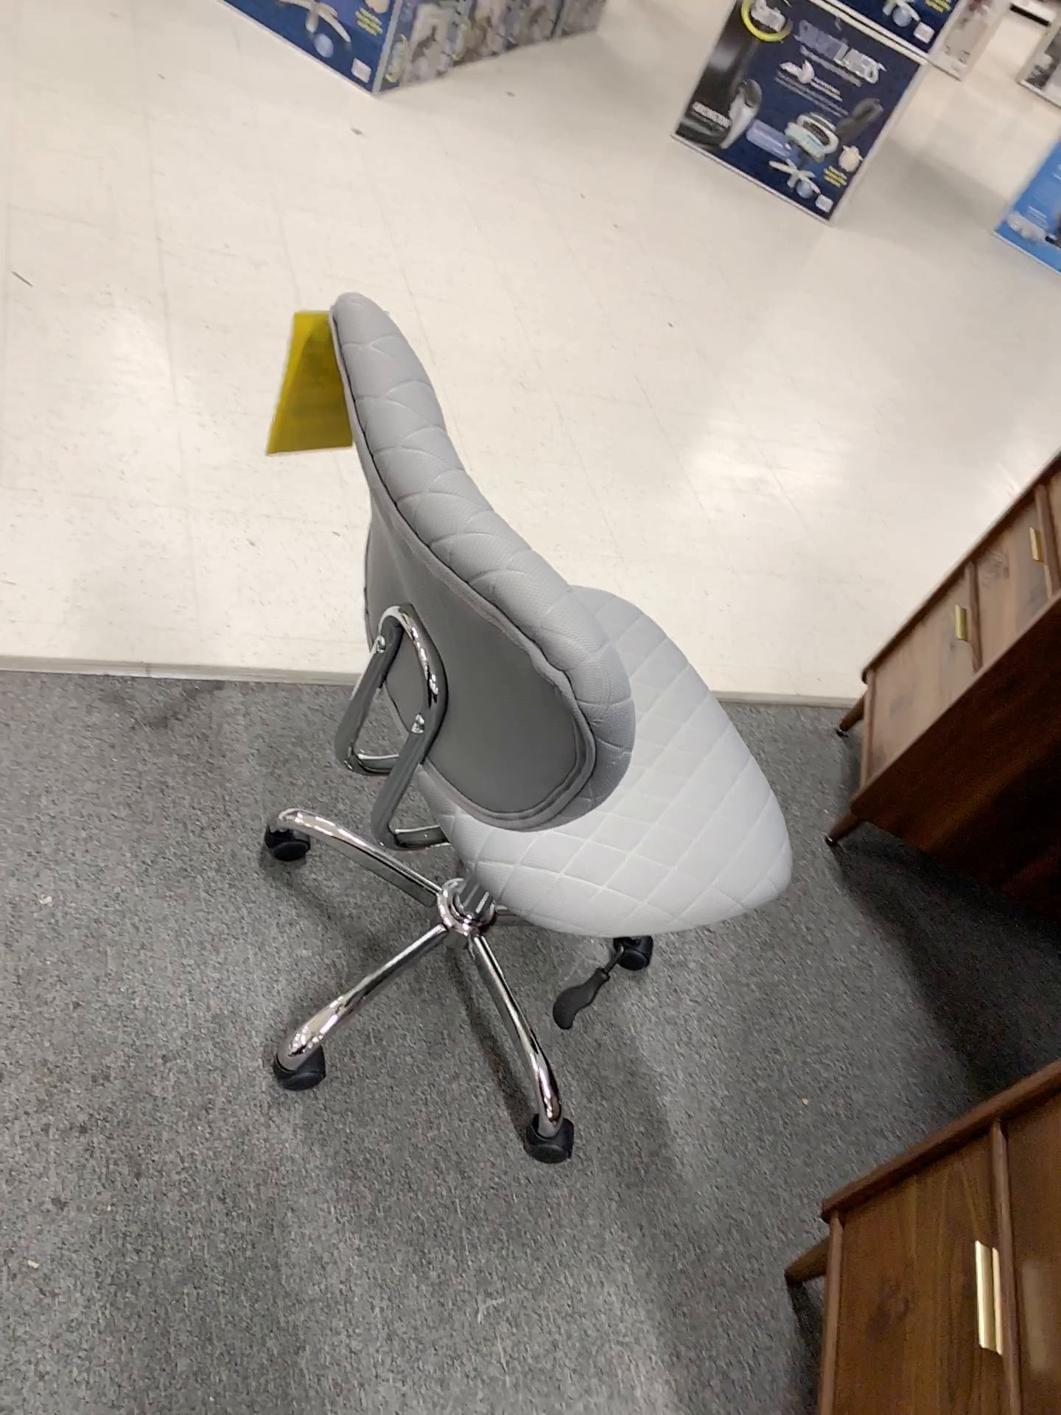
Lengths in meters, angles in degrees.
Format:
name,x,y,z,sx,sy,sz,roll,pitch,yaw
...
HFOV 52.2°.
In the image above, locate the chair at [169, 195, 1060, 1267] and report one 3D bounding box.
name,x,y,z,sx,sy,sz,roll,pitch,yaw
chair,0.046,0.068,1.210,0.641,0.876,0.632,-5,53,-31
